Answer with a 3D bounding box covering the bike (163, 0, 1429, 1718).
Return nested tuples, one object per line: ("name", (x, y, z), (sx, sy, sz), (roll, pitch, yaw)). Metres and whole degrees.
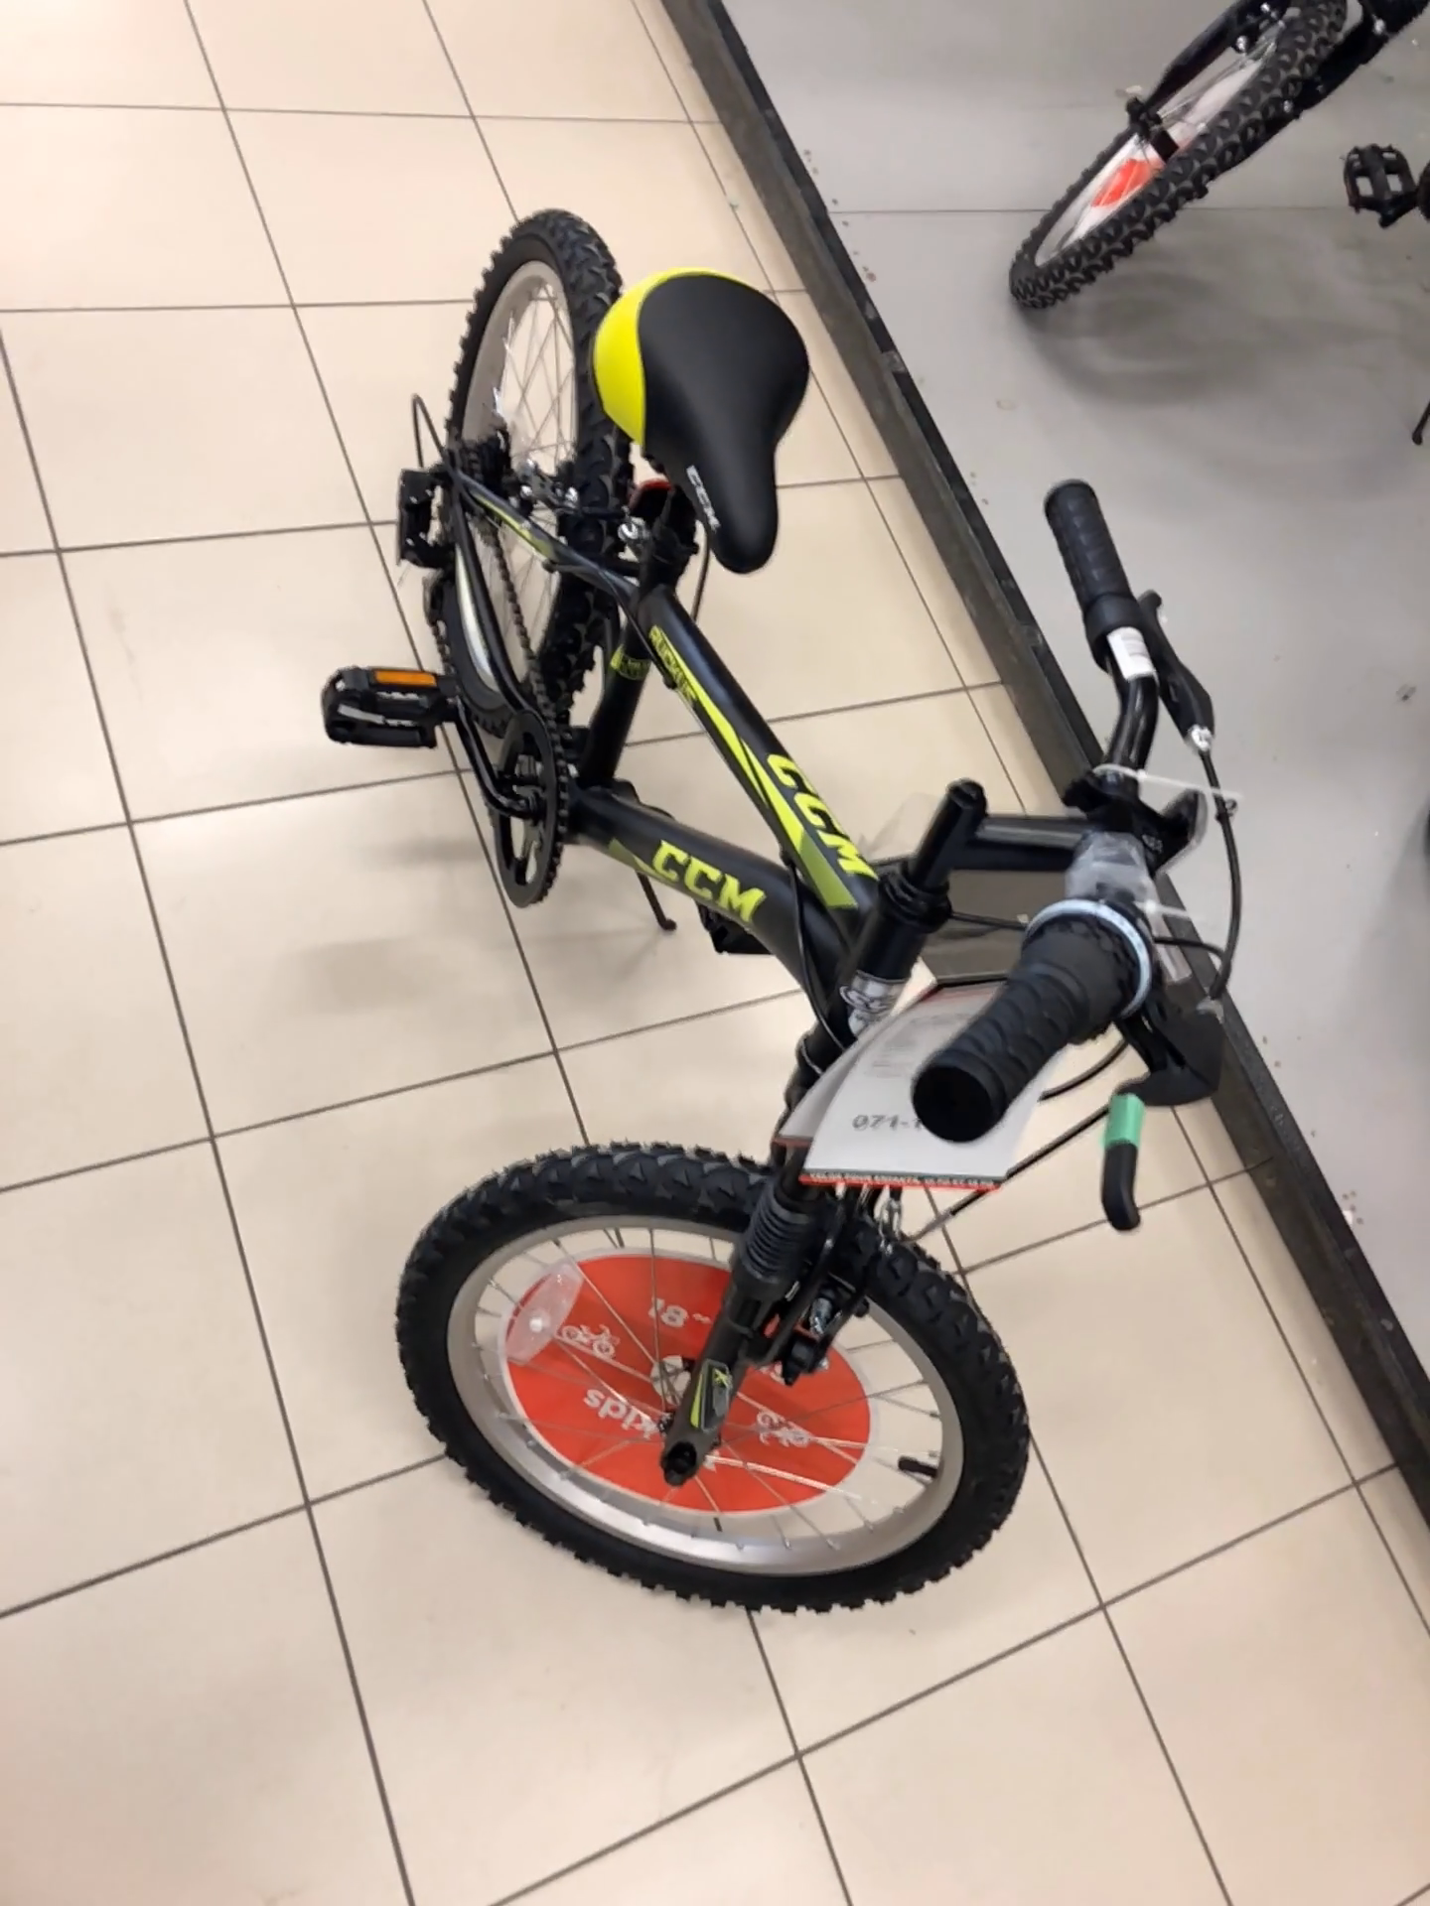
("bike", (0.021, -0.185, 1.109), (0.550, 0.862, 1.196), (-11, 68, -24))
